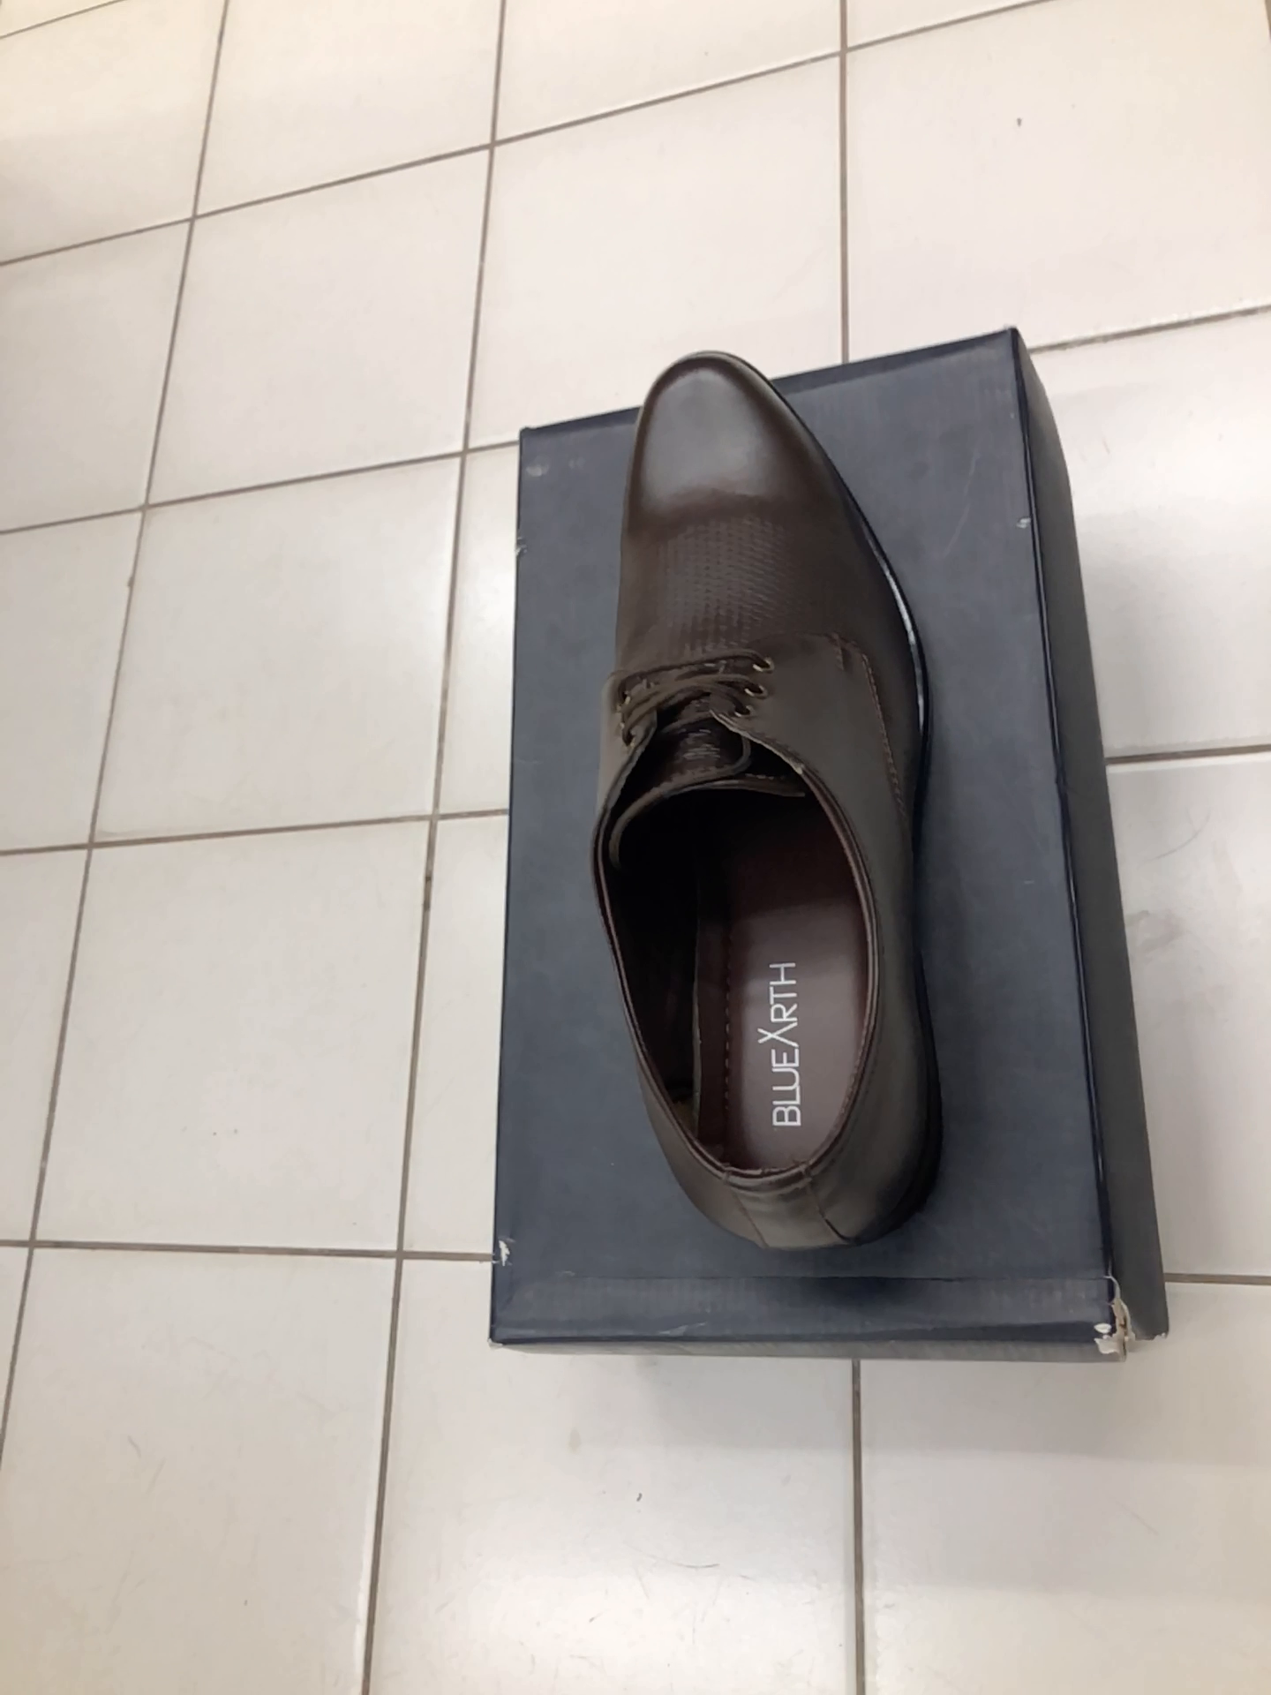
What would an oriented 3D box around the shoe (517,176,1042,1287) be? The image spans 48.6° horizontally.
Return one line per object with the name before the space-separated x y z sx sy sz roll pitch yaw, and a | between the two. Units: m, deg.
shoe | 0.039 -0.030 0.419 0.110 0.100 0.301 -9 70 18
